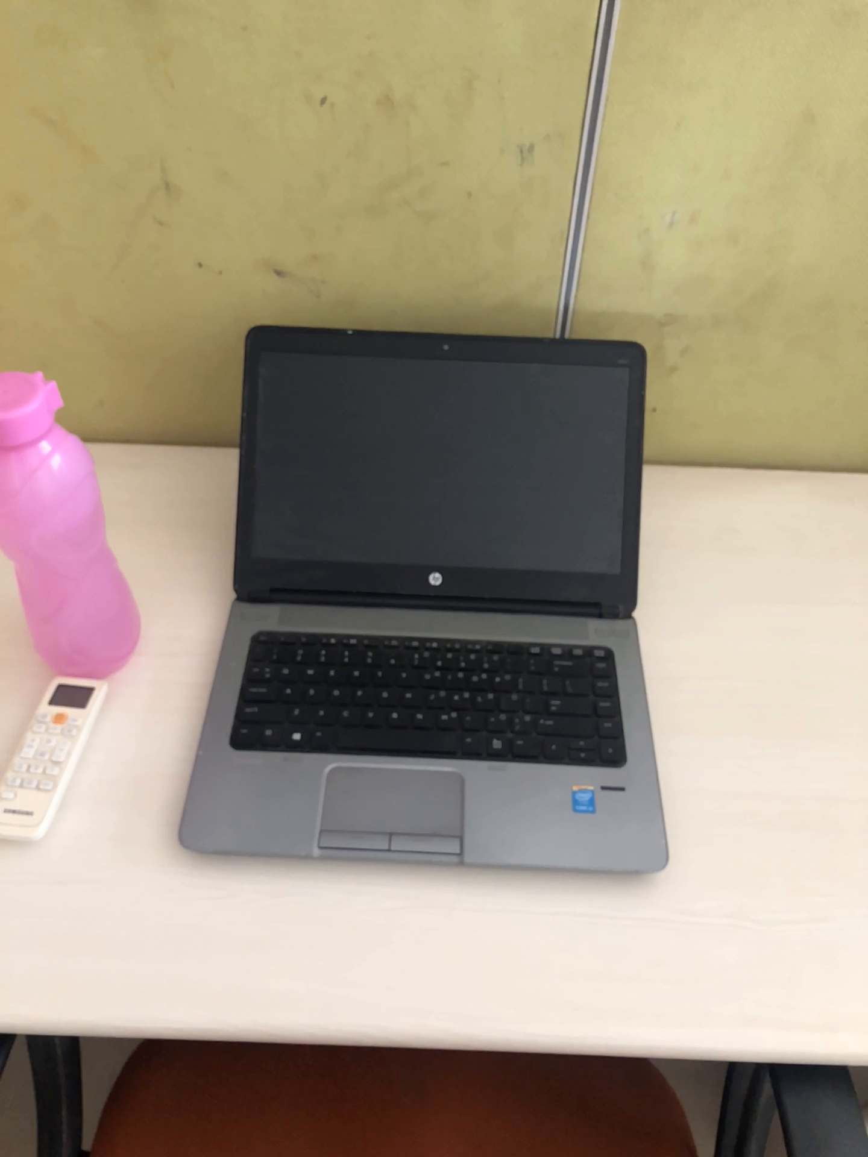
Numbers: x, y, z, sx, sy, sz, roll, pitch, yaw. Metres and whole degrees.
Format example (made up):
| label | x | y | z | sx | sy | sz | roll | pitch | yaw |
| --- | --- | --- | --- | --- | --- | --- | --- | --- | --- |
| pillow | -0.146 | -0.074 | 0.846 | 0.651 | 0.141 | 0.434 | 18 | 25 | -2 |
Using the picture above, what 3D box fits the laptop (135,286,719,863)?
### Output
| label | x | y | z | sx | sy | sz | roll | pitch | yaw |
| --- | --- | --- | --- | --- | --- | --- | --- | --- | --- |
| laptop | 0.001 | -0.026 | 0.719 | 0.326 | 0.148 | 0.408 | 2 | 50 | 1 |
